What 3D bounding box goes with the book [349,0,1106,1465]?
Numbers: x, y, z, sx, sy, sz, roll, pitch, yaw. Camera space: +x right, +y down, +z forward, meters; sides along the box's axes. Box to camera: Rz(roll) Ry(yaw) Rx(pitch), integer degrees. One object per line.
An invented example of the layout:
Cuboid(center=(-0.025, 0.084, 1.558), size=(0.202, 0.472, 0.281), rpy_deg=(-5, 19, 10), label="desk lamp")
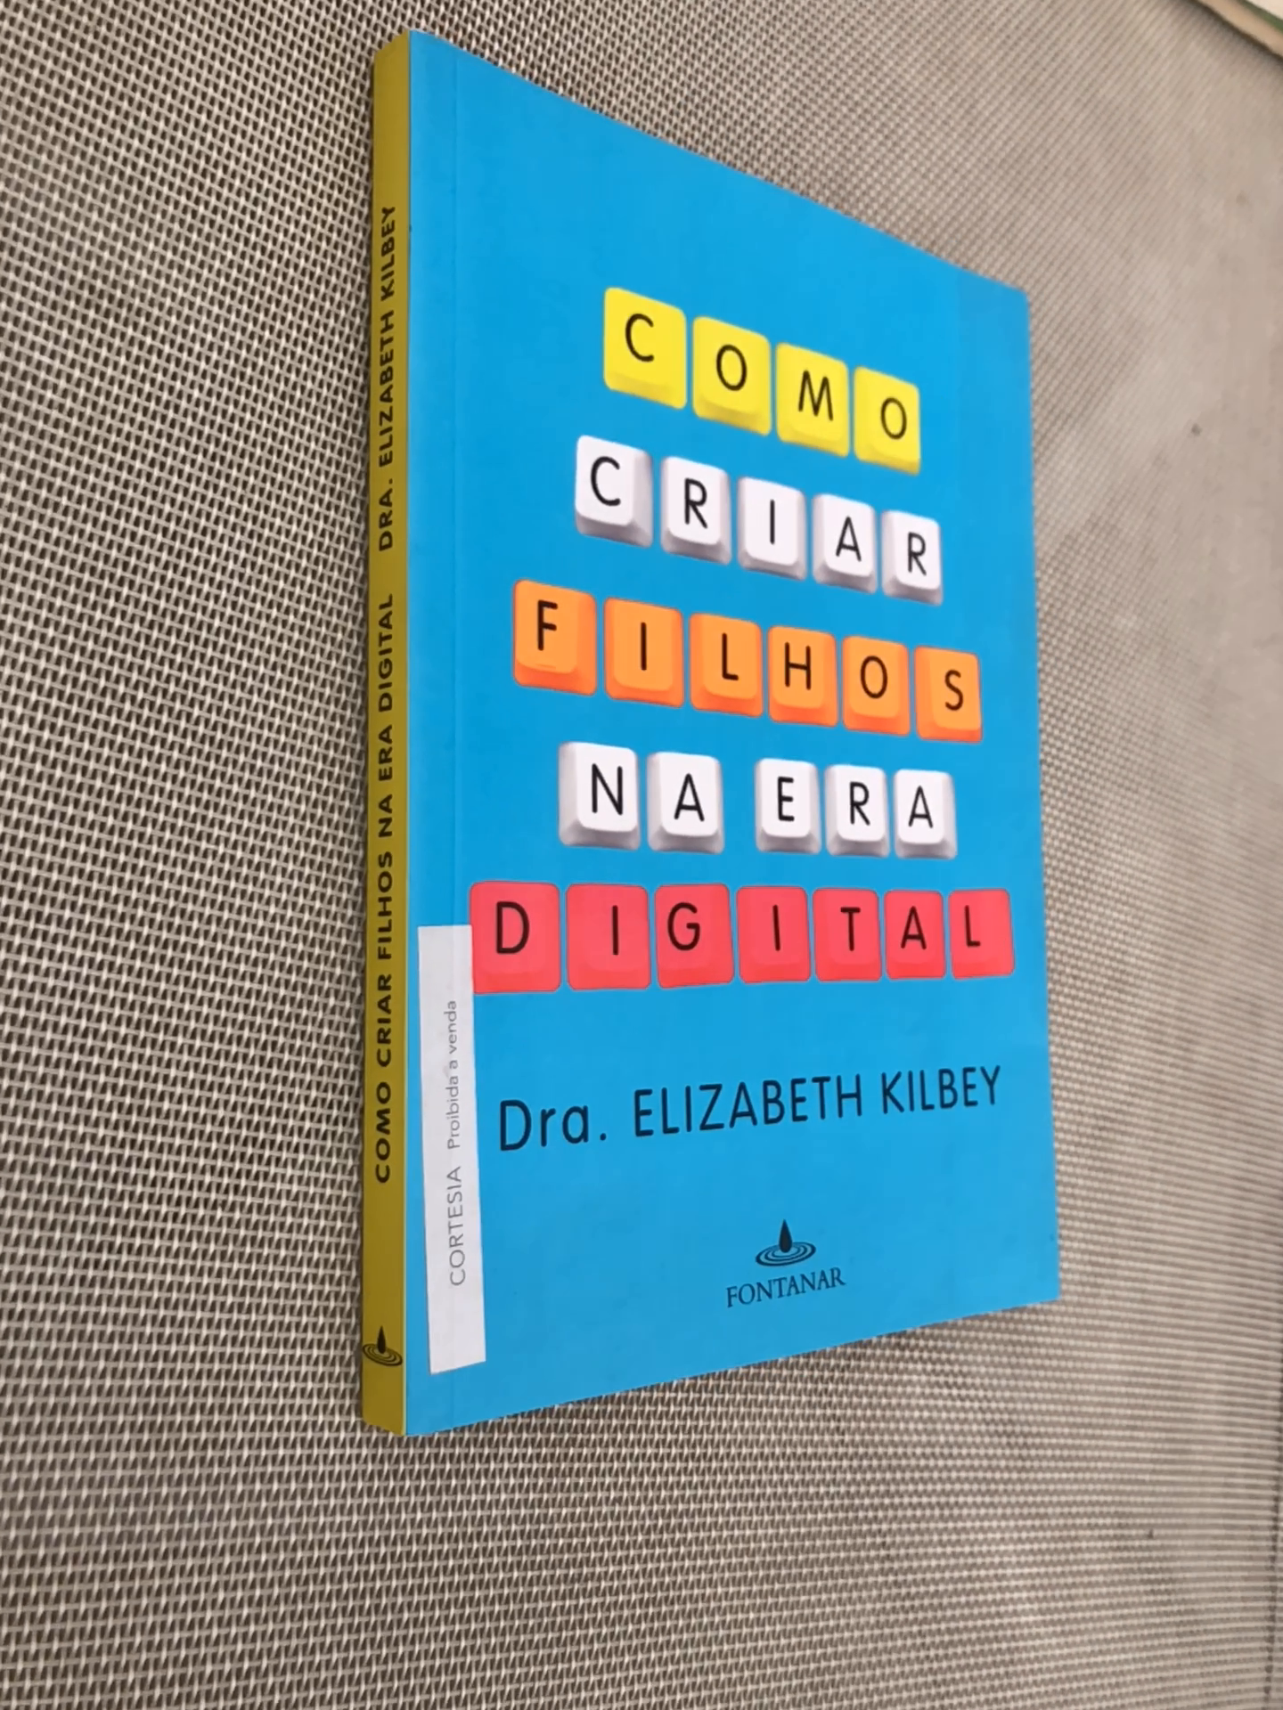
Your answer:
Cuboid(center=(0.025, -0.024, 0.270), size=(0.164, 0.020, 0.228), rpy_deg=(3, 84, -37), label="book")
